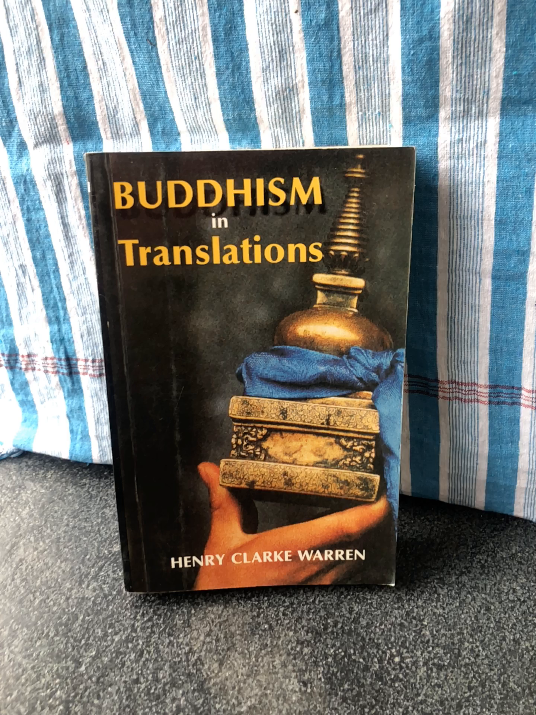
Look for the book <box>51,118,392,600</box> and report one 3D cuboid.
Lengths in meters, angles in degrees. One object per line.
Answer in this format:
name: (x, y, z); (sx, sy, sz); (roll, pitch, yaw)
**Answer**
book: (-0.017, 0.003, 0.285); (0.140, 0.210, 0.050); (-1, 9, 0)
